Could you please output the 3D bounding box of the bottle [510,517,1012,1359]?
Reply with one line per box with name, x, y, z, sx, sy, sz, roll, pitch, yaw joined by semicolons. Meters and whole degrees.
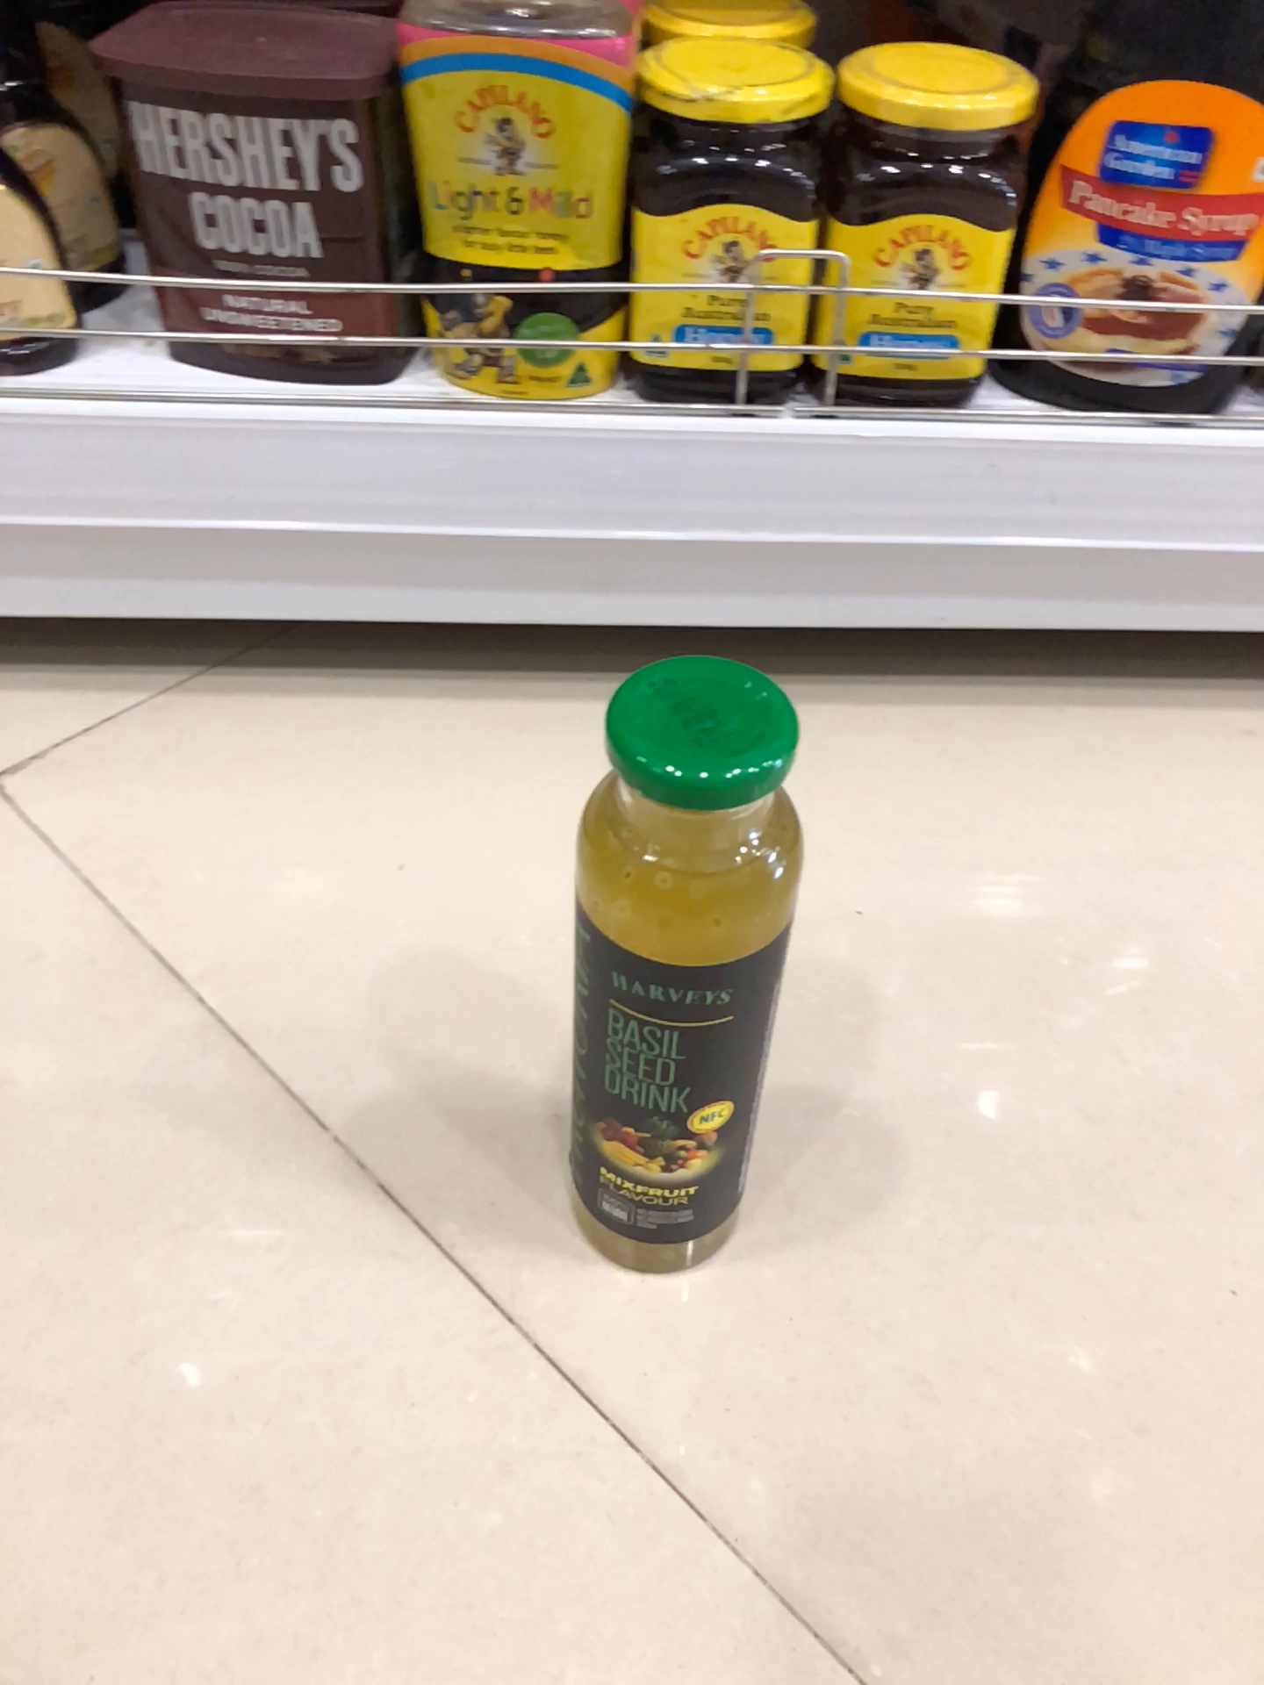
bottle;0.024;0.034;0.338;0.080;0.199;0.071;16;46;13
